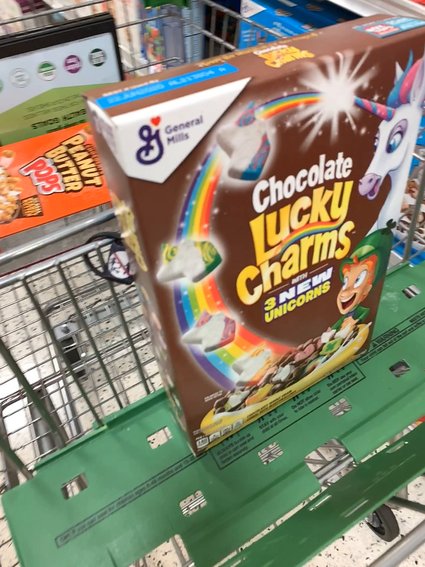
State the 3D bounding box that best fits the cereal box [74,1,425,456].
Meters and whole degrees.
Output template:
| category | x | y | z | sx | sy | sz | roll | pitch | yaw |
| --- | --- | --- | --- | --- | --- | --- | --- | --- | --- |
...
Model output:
| category | x | y | z | sx | sy | sz | roll | pitch | yaw |
| --- | --- | --- | --- | --- | --- | --- | --- | --- | --- |
| cereal box | 0.045 | -0.013 | 0.322 | 0.201 | 0.297 | 0.050 | -25 | 46 | -19 |
